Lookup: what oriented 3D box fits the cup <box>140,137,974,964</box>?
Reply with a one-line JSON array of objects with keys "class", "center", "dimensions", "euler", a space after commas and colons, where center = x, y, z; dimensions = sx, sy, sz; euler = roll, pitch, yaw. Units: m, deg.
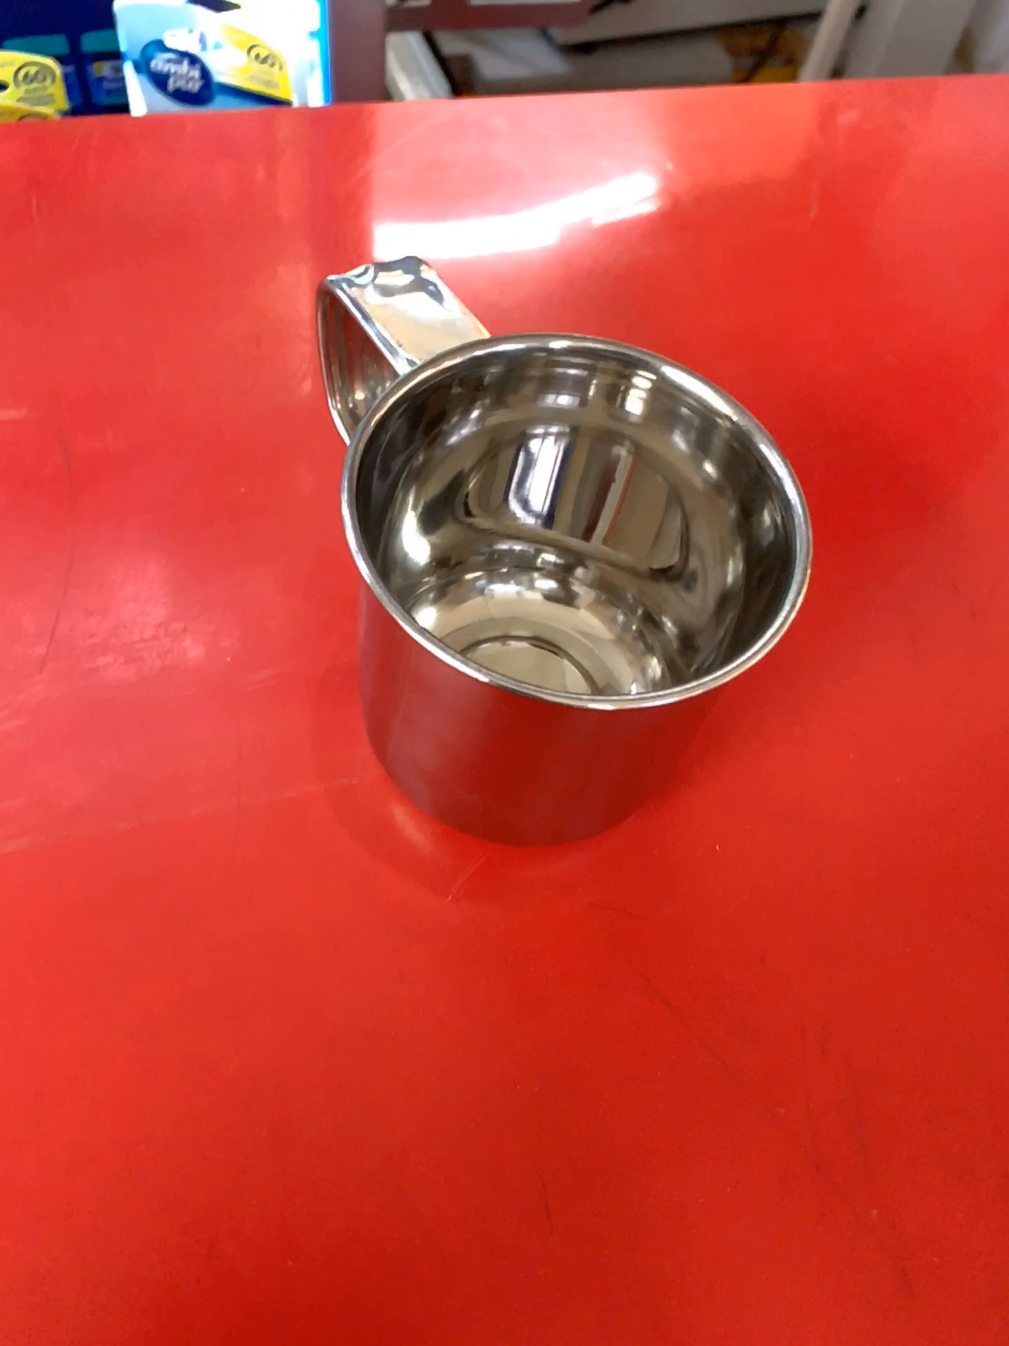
[{"class": "cup", "center": [0.001, -0.025, 0.187], "dimensions": [0.079, 0.065, 0.110], "euler": [-26, 65, -22]}]
